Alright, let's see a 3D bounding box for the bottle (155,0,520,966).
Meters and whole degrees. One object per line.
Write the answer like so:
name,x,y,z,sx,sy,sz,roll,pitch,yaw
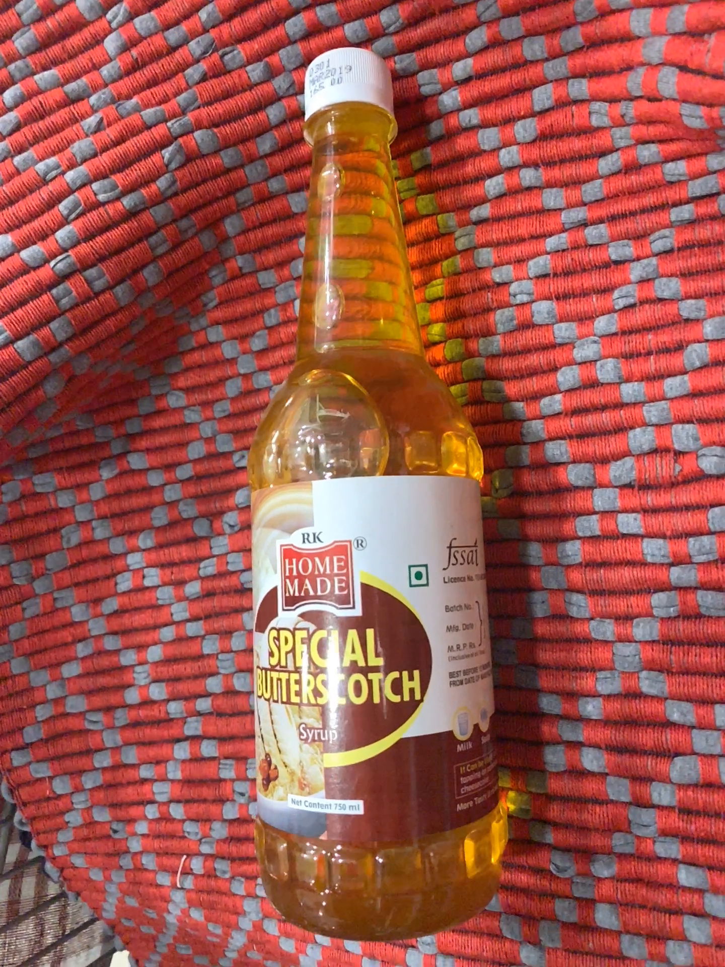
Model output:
bottle,-0.007,-0.003,0.229,0.080,0.060,0.260,-7,78,31
